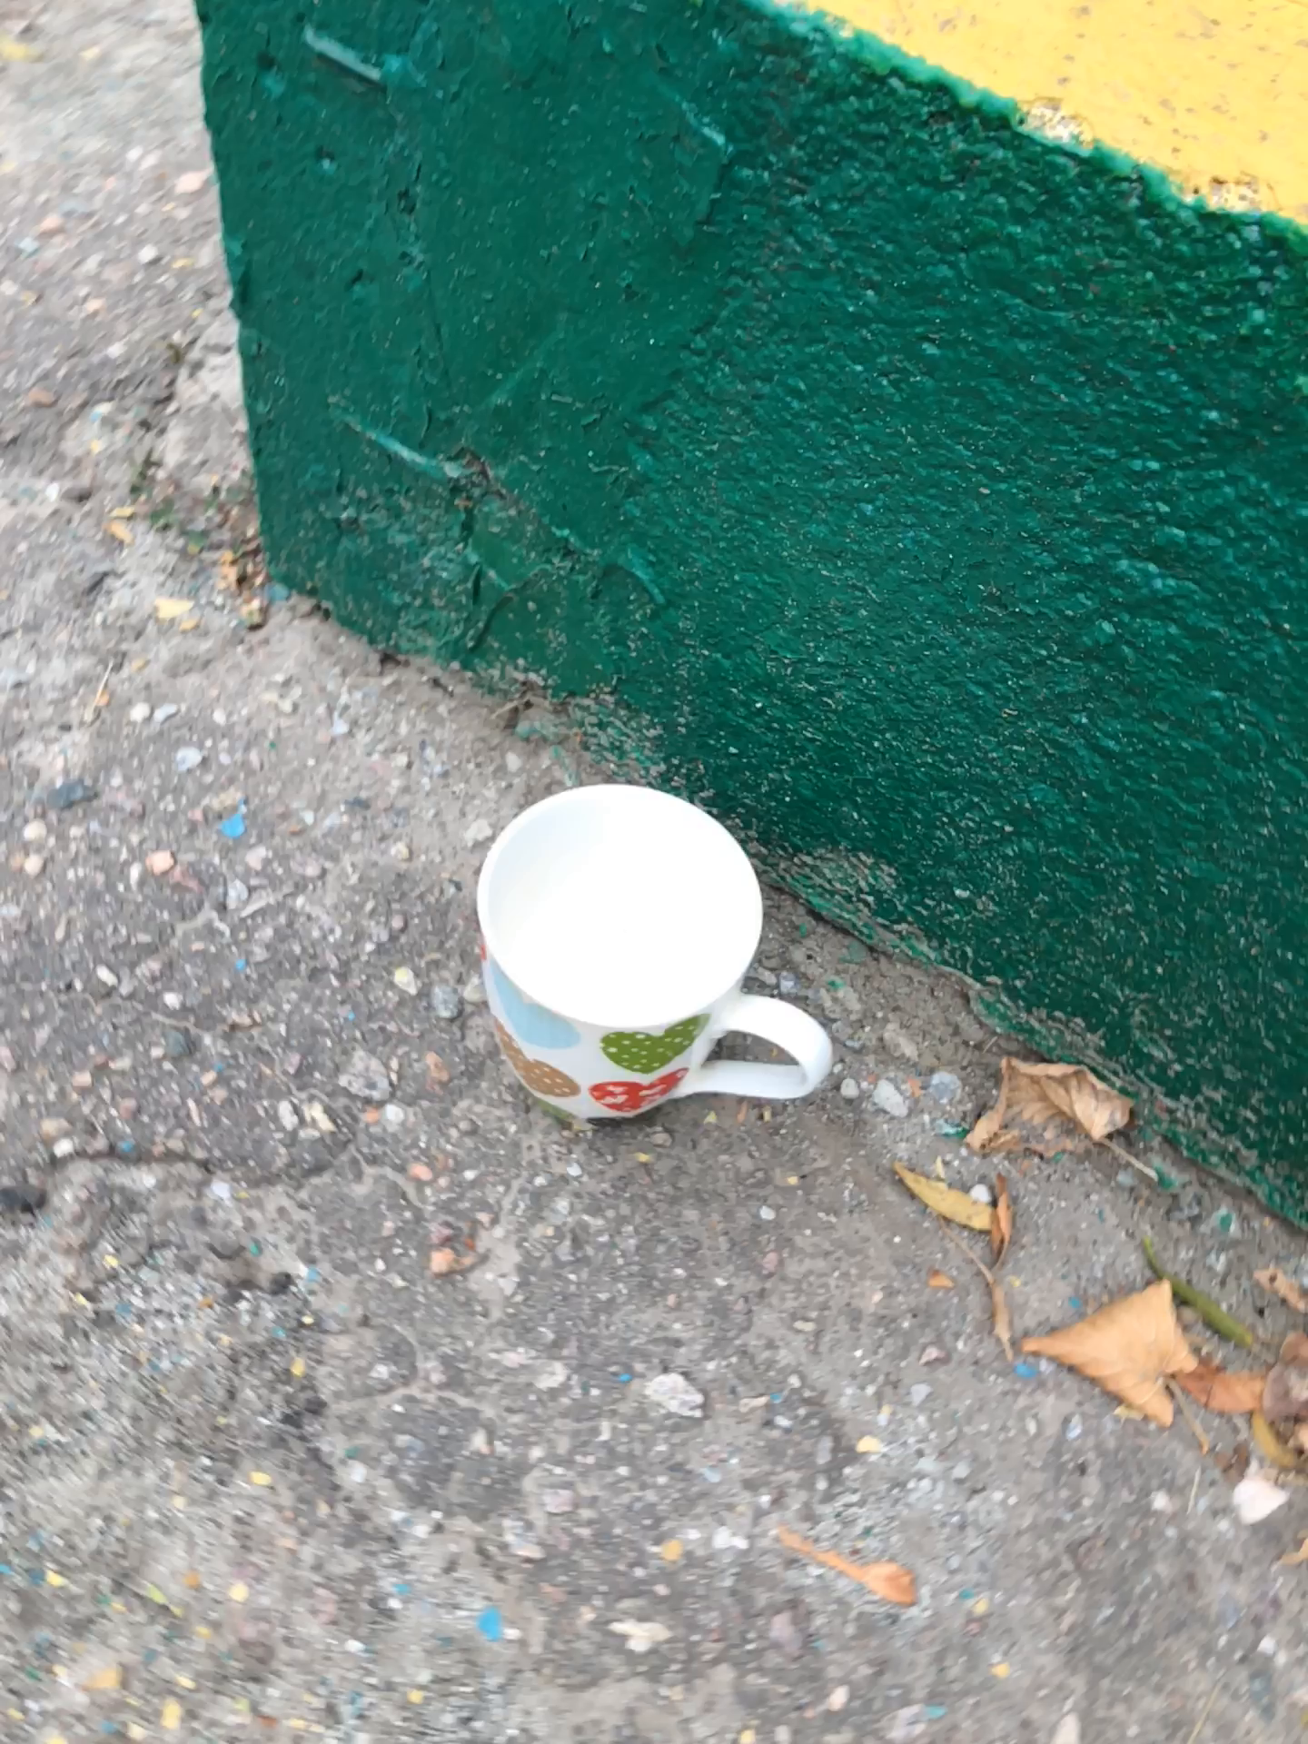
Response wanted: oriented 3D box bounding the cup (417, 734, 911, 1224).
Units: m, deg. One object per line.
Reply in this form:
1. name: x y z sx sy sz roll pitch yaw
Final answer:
1. cup: 0.000 0.033 0.432 0.116 0.079 0.082 21 56 4
